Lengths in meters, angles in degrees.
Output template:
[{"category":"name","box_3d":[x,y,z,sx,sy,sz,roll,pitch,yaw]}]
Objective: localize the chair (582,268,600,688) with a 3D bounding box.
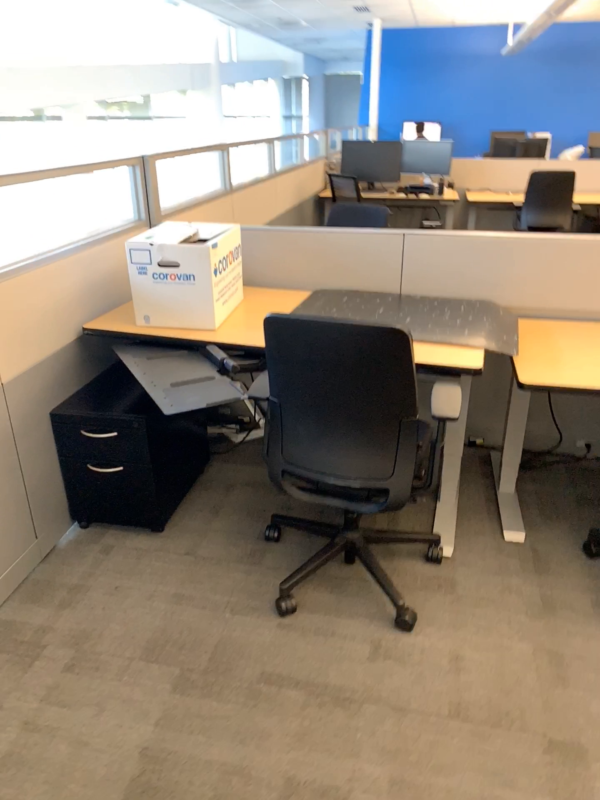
[{"category":"chair","box_3d":[1.250,0.193,1.772,0.520,0.995,0.583,5,25,10]}]

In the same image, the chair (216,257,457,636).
[{"category":"chair","box_3d":[0.144,0.110,2.012,0.561,0.995,0.603,8,26,18]}]
